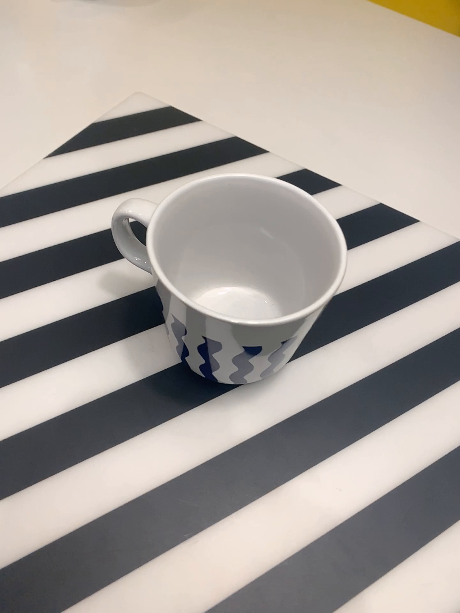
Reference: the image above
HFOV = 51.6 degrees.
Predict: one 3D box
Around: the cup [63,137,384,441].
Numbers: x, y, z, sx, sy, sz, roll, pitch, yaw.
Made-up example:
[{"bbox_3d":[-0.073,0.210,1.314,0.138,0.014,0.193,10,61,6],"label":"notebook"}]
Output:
[{"bbox_3d":[-0.002,-0.011,0.235,0.110,0.070,0.090,26,56,11],"label":"cup"}]
